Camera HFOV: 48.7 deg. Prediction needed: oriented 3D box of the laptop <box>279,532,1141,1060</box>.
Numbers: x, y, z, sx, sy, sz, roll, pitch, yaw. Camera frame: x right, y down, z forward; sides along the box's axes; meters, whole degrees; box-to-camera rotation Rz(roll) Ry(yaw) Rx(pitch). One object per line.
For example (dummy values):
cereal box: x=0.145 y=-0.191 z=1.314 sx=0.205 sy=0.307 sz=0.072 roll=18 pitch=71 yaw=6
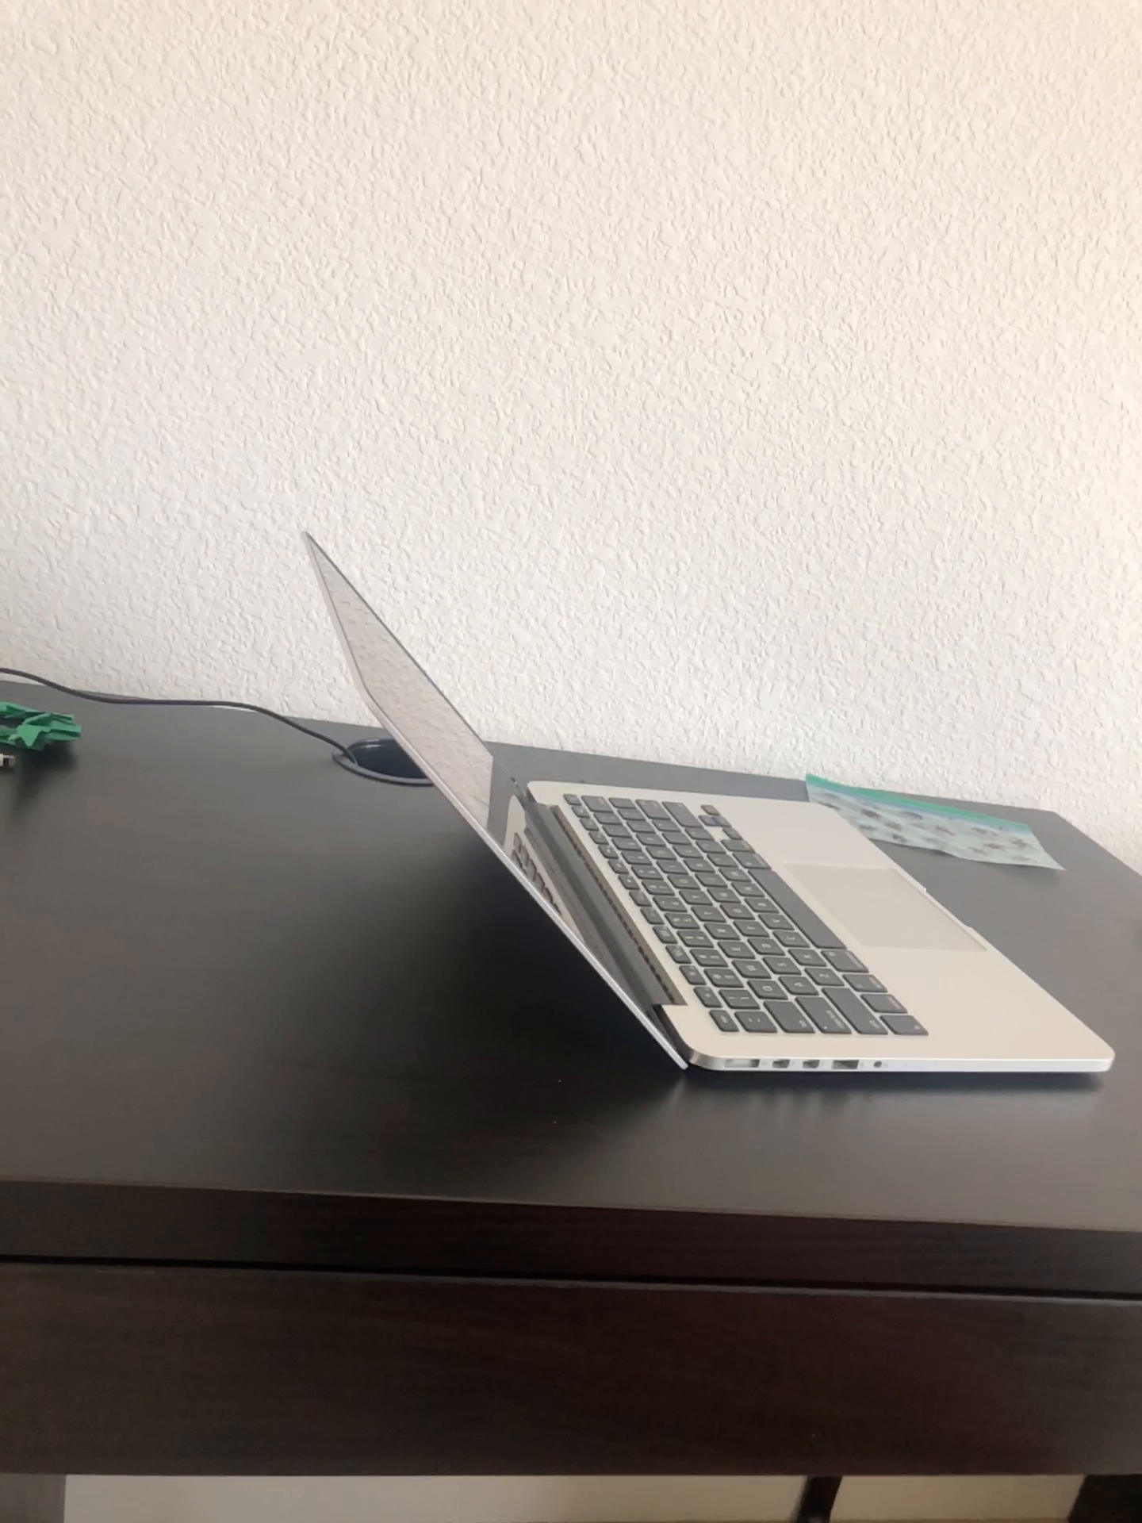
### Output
laptop: x=0.052 y=0.004 z=0.643 sx=0.362 sy=0.133 sz=0.309 roll=5 pitch=19 yaw=-17
